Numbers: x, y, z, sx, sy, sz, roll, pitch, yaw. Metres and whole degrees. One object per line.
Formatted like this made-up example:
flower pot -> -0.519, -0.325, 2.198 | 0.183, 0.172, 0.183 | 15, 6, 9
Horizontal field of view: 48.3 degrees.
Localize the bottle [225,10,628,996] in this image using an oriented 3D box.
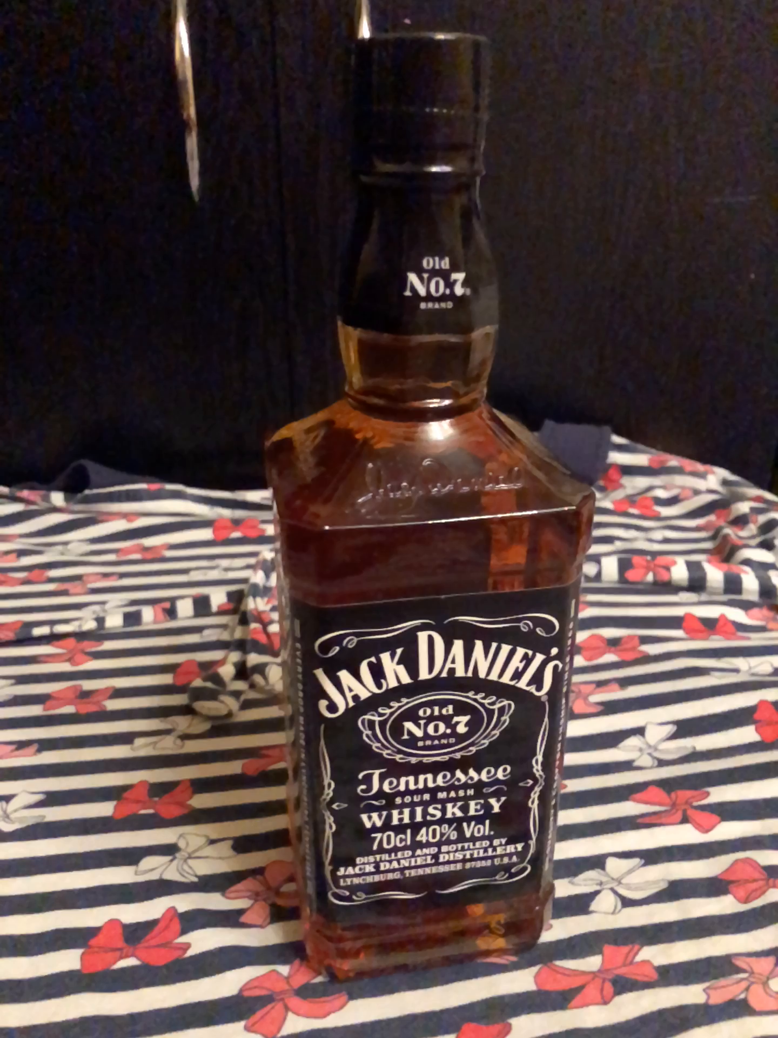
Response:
bottle -> 0.004, 0.006, 0.240 | 0.074, 0.246, 0.073 | -1, 23, 0
